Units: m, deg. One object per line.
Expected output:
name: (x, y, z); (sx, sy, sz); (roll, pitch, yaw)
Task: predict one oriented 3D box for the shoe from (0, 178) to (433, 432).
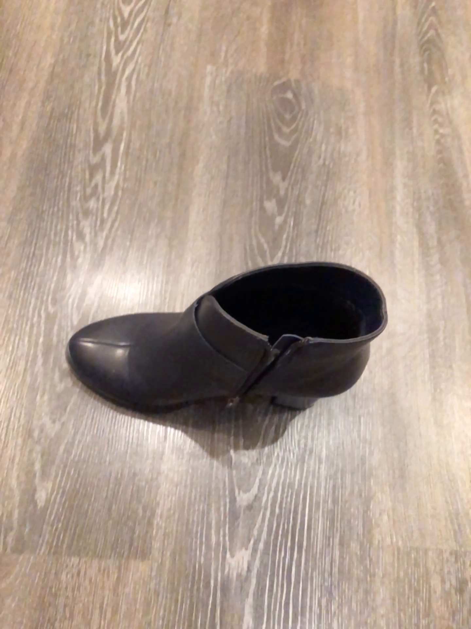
shoe: (-0.020, 0.012, 0.381); (0.240, 0.189, 0.090); (6, 66, -6)
